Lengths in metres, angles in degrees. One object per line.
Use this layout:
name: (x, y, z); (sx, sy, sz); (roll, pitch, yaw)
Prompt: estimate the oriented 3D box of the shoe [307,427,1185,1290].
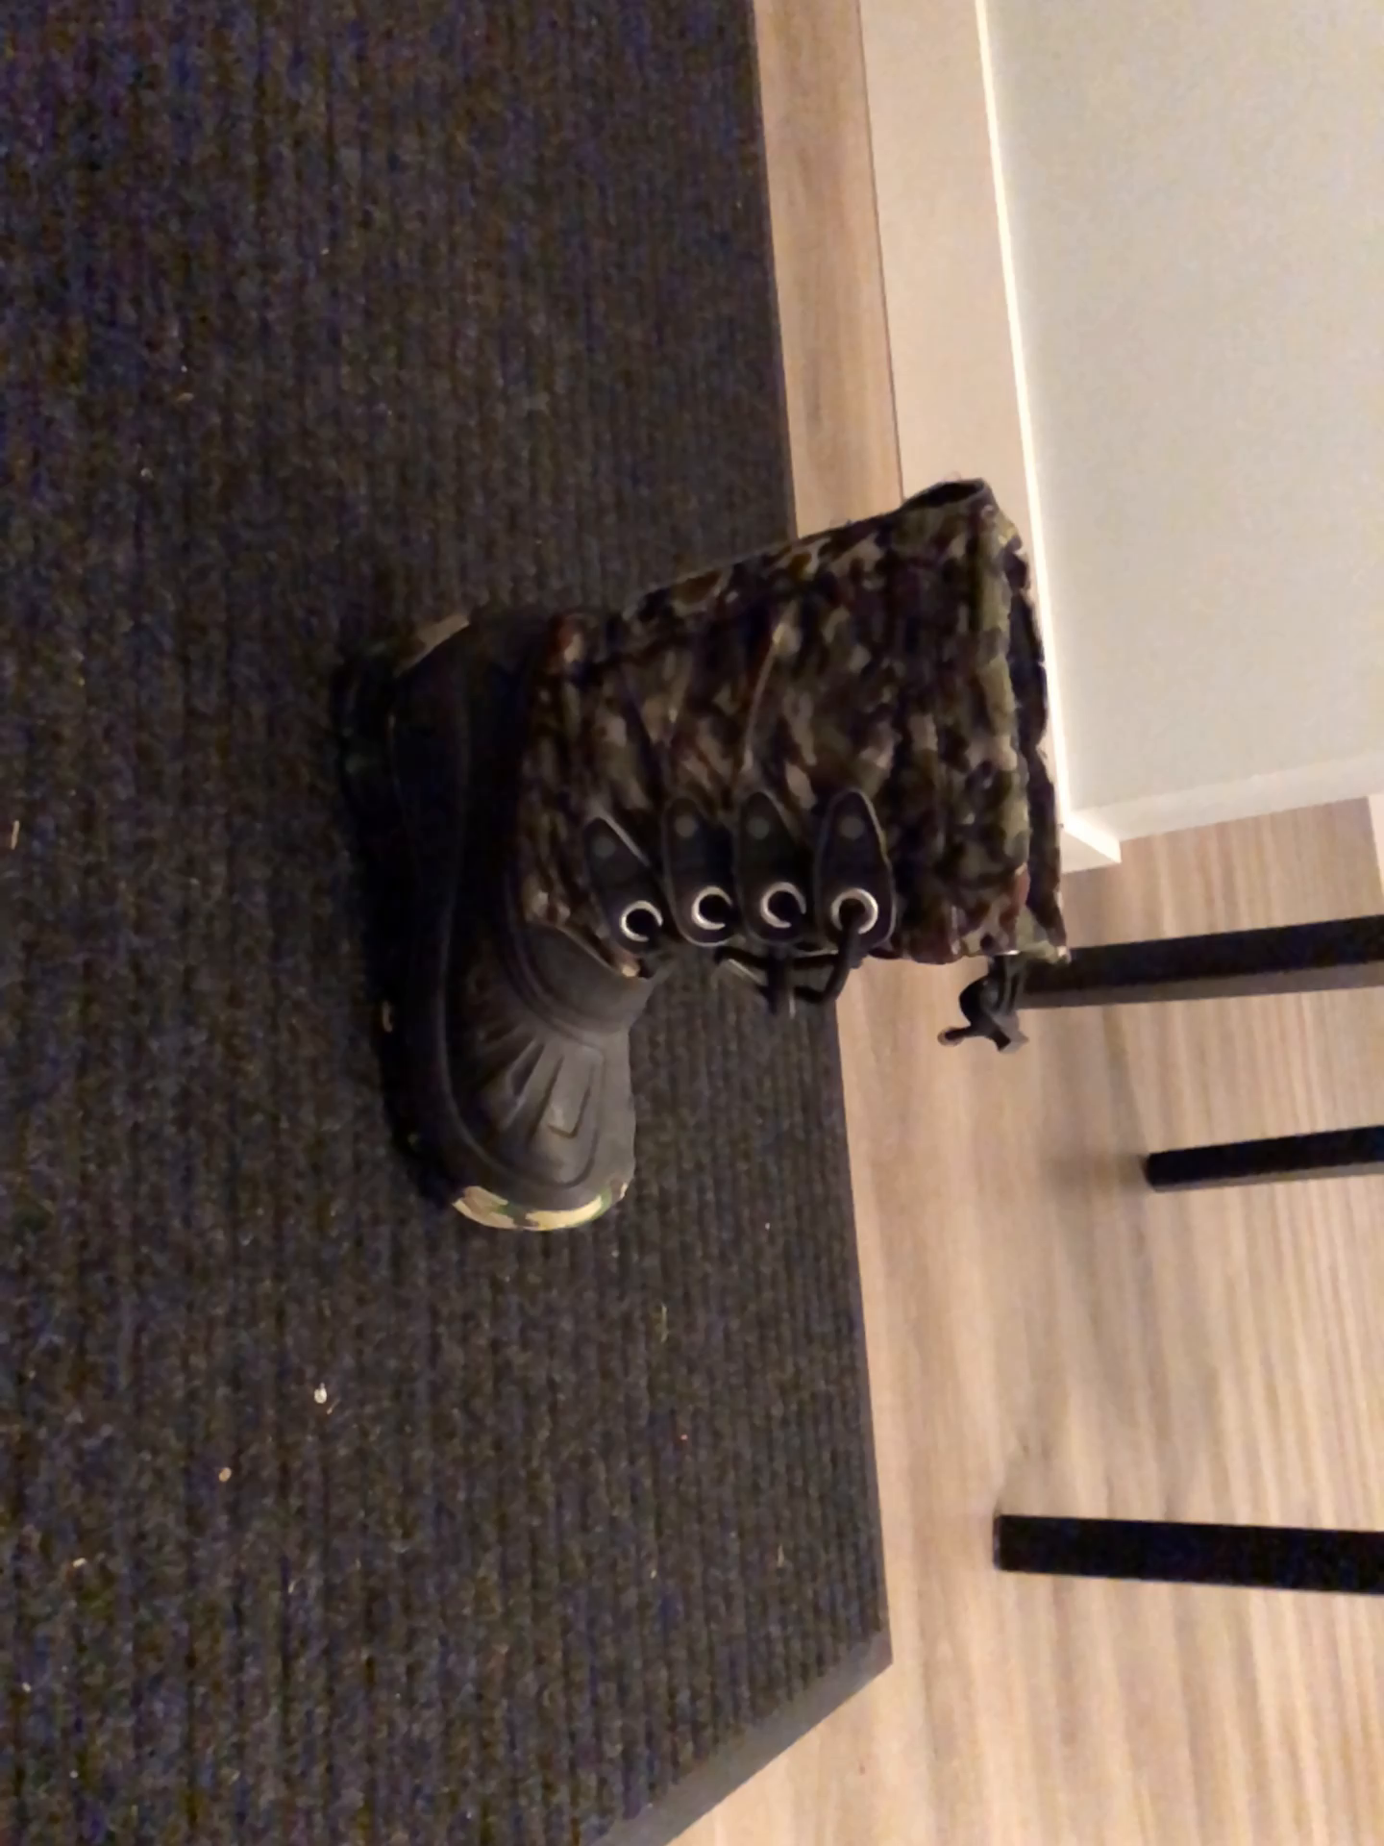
shoe: (0.015, -0.008, 0.461); (0.101, 0.209, 0.200); (-9, 89, -63)
